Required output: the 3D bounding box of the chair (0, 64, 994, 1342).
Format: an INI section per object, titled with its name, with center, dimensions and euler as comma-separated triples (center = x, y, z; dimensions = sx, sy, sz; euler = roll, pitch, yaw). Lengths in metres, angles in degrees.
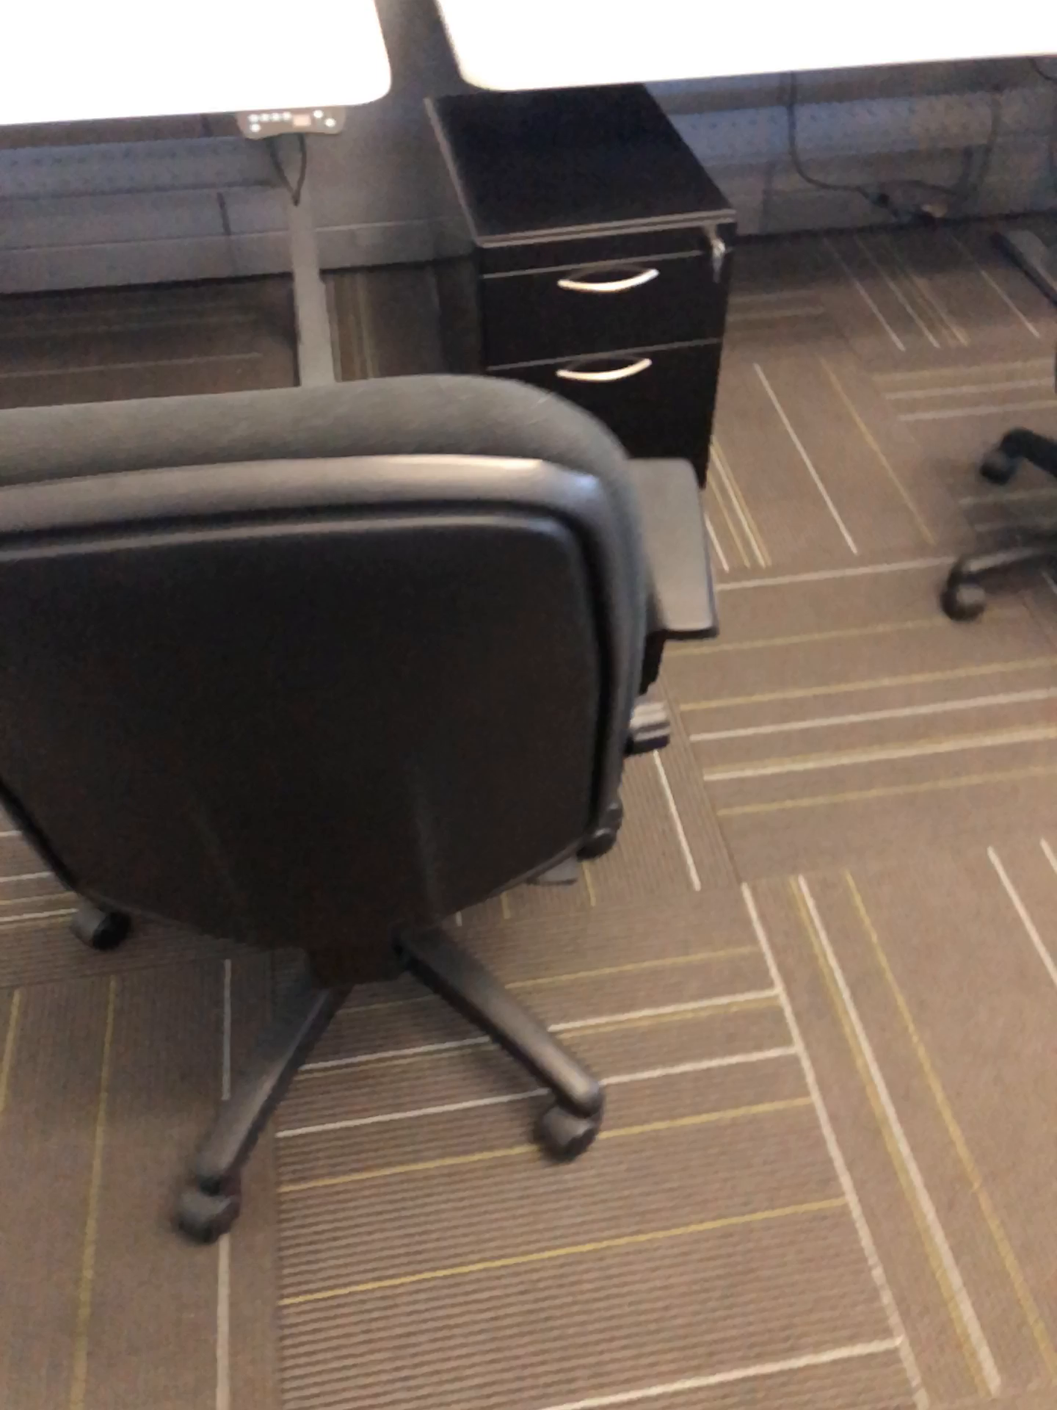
[chair]
center = -0.183, 0.039, 1.138
dimensions = 0.740, 0.956, 0.683
euler = -7, 47, -6
